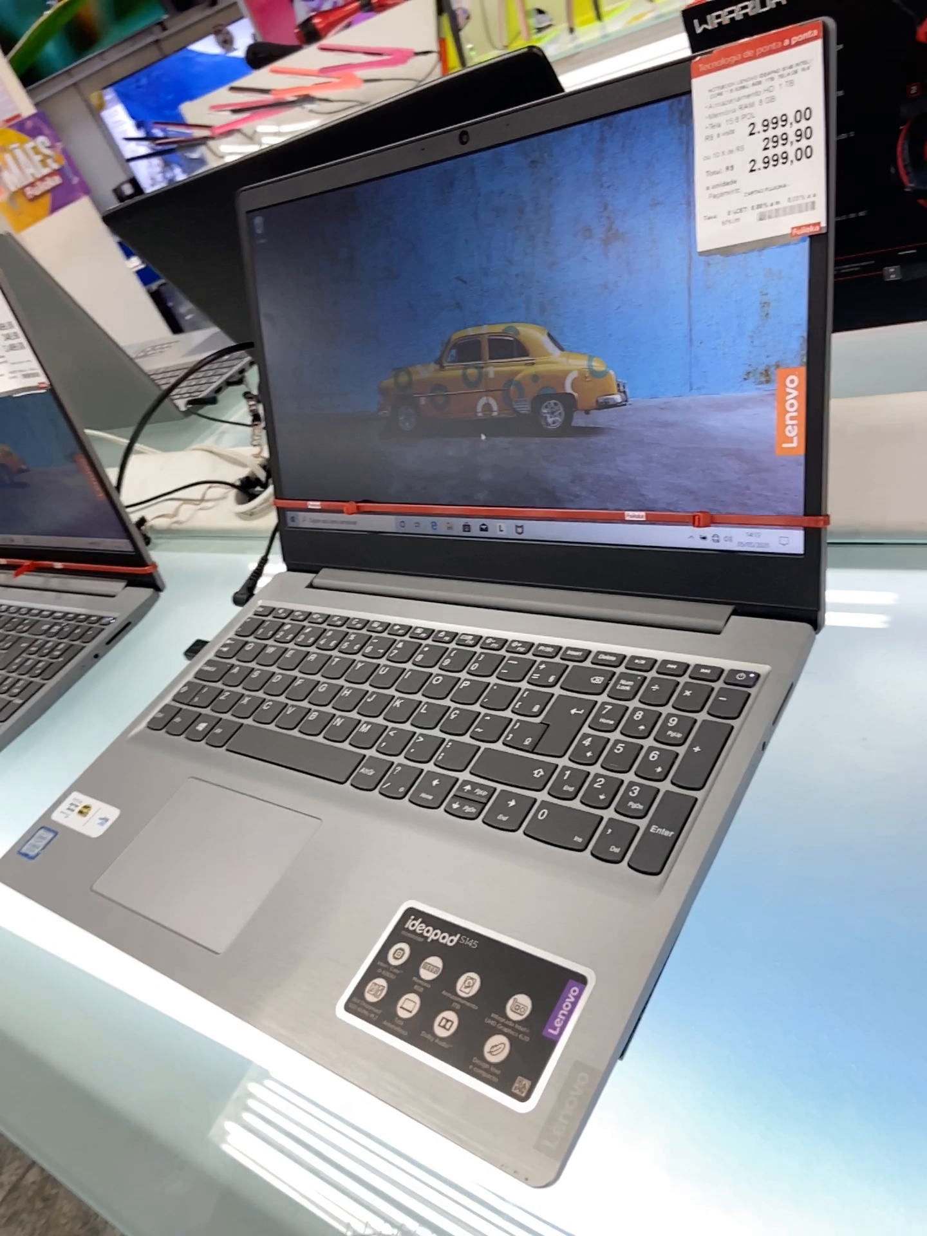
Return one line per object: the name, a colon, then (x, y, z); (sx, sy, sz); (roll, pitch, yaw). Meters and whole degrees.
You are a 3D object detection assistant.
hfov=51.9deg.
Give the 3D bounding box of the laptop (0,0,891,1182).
laptop: (-0.061, -0.053, 0.449); (0.369, 0.209, 0.380); (6, 46, 40)
